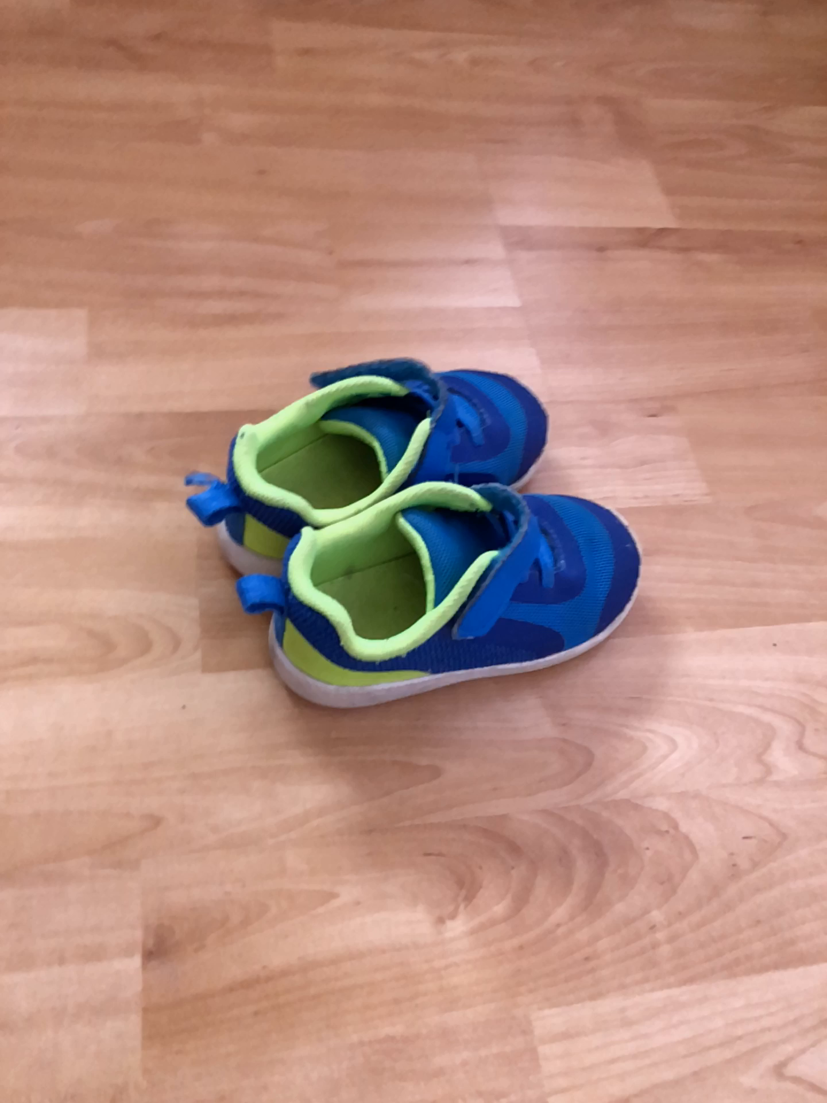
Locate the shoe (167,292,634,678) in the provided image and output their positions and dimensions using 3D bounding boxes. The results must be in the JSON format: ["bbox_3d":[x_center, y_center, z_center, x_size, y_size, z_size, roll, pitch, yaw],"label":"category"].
[{"bbox_3d":[-0.006,-0.031,0.373,0.160,0.070,0.080,-26,65,-24],"label":"shoe"}]

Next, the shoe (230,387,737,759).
[{"bbox_3d":[0.021,0.005,0.344,0.160,0.070,0.080,-14,61,-18],"label":"shoe"}]
